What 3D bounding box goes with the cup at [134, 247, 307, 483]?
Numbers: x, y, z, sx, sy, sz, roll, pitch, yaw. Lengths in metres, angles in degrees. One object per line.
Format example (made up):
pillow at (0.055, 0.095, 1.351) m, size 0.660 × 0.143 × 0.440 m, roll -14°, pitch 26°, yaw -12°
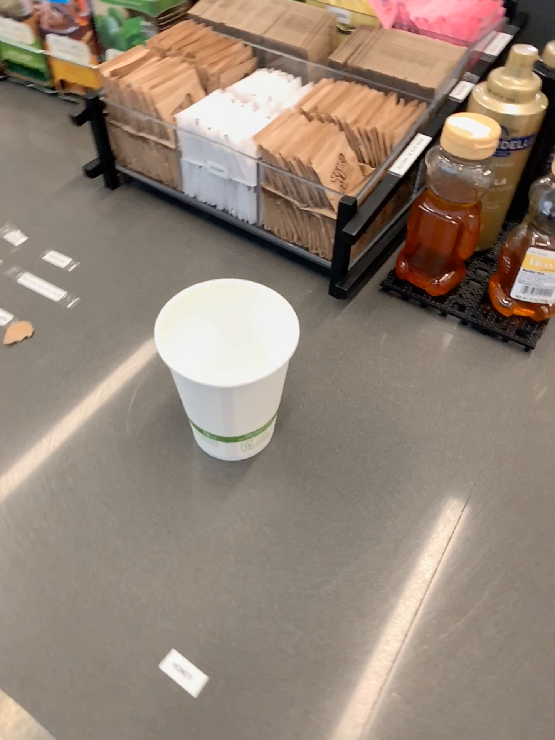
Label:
cup at (-0.036, -0.001, 0.374) m, size 0.080 × 0.119 × 0.080 m, roll 1°, pitch 51°, yaw -1°
